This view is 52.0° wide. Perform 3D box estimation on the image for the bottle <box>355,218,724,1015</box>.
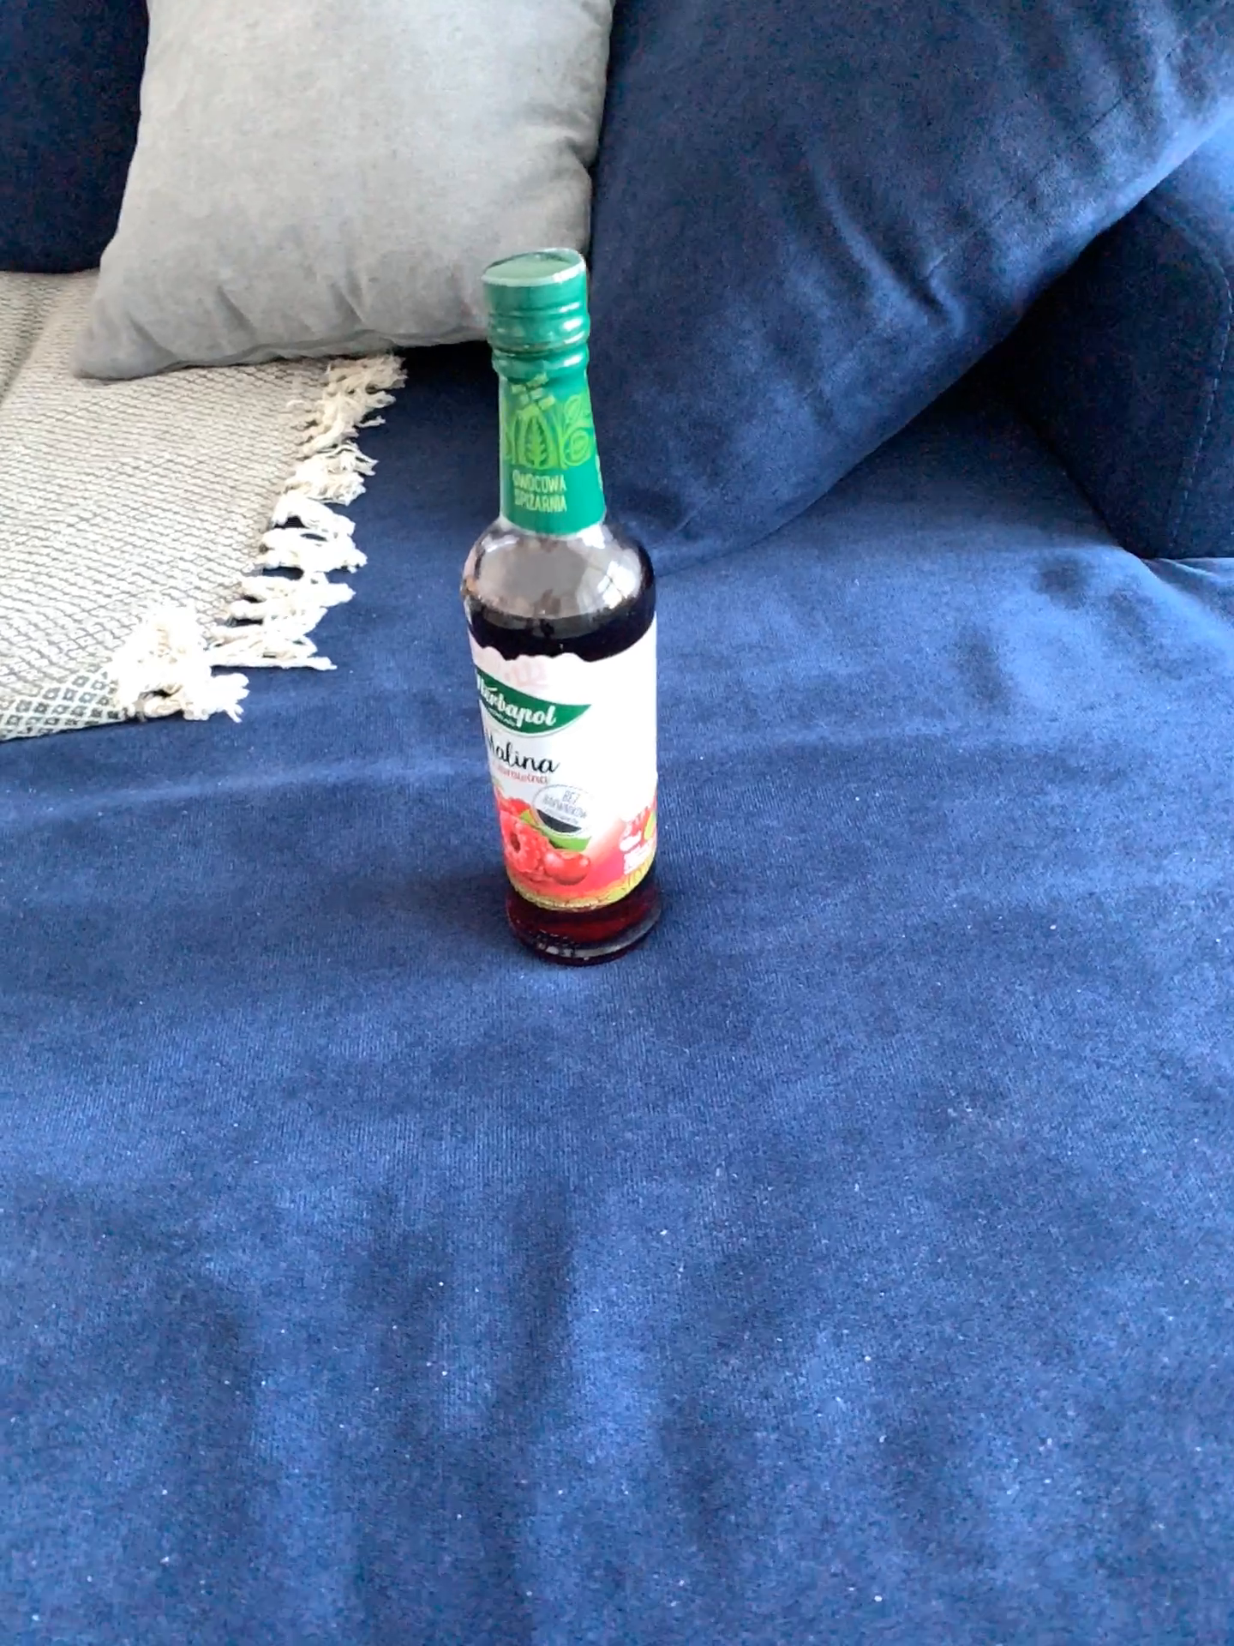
[{"bbox_3d":[-0.015,-0.054,0.422,0.070,0.249,0.070,-2,43,2],"label":"bottle"}]
